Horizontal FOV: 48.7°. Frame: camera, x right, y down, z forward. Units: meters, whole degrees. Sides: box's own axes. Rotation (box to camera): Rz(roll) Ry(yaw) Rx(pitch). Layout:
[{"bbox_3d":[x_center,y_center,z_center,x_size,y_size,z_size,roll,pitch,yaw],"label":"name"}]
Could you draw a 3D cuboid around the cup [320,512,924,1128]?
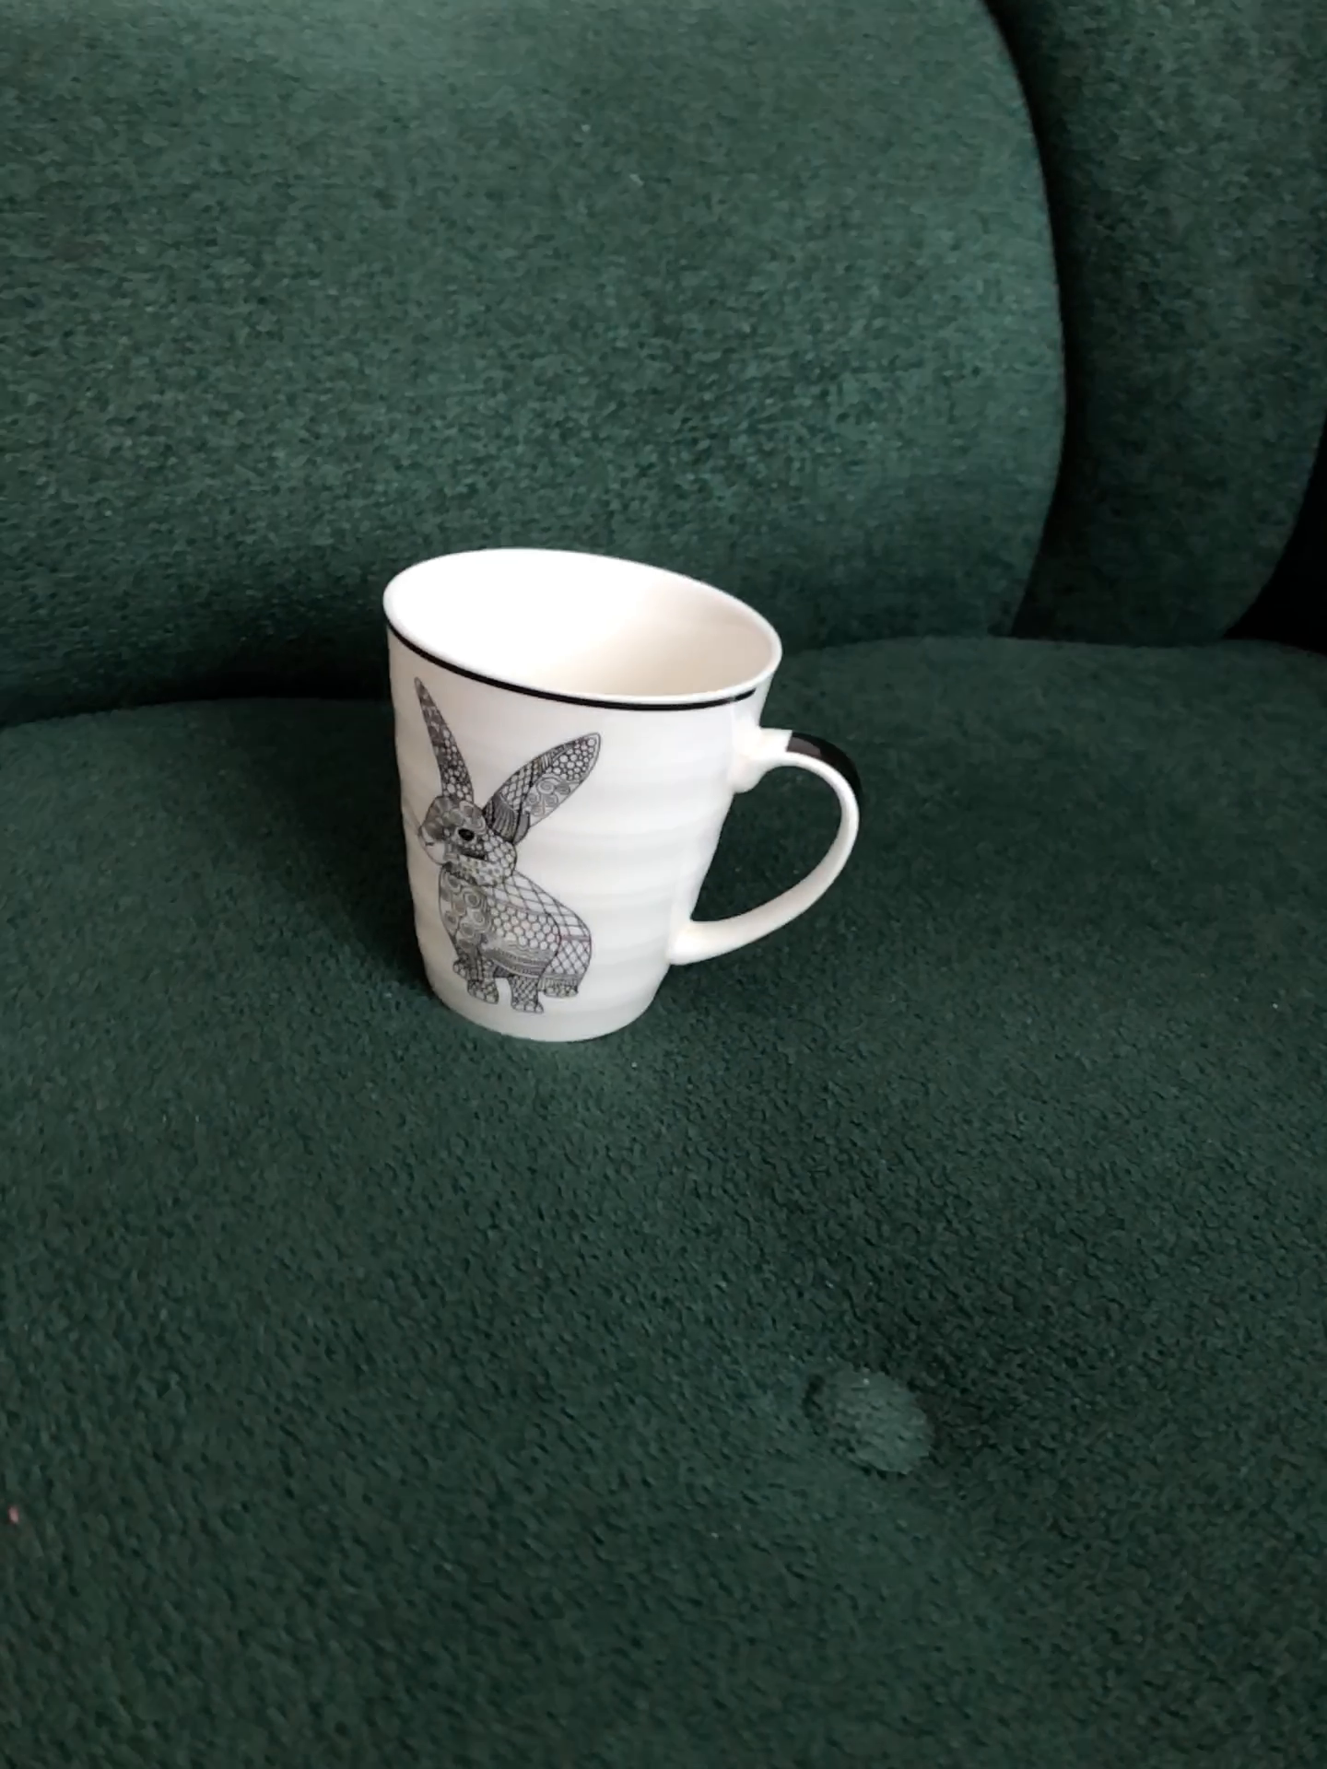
[{"bbox_3d":[-0.008,-0.020,0.359,0.120,0.095,0.096,12,32,6],"label":"cup"}]
